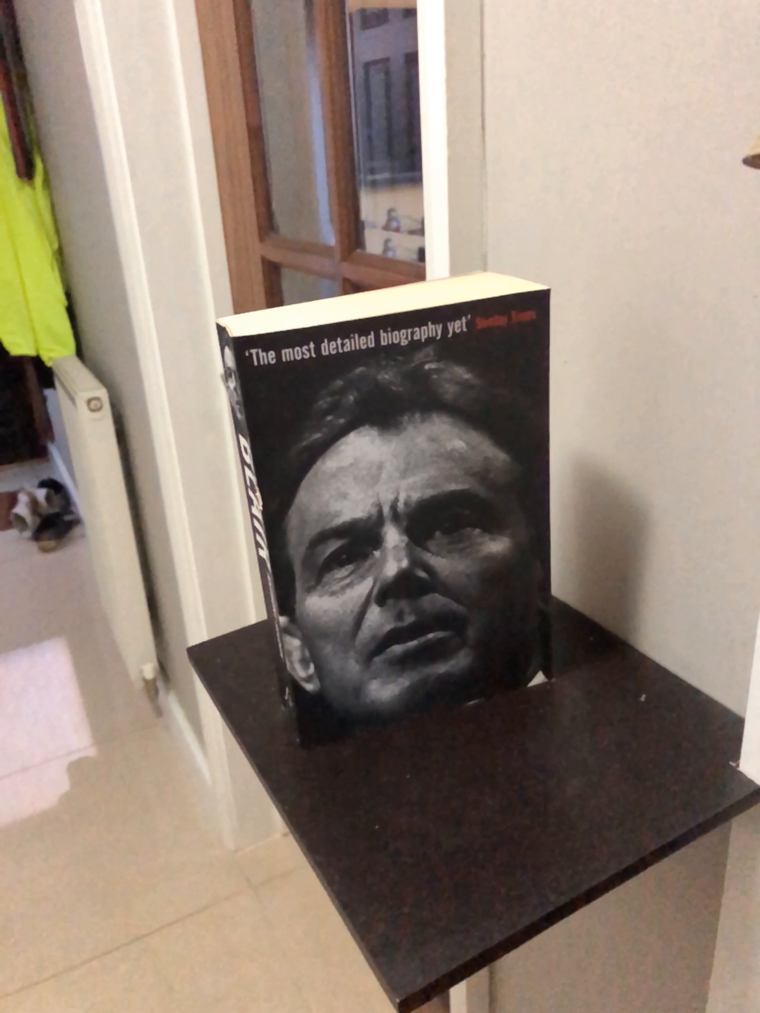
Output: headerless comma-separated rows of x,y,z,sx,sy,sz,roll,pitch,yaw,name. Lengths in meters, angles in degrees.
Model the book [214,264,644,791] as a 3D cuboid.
0.027,0.006,0.393,0.170,0.209,0.060,-11,24,-17,book
